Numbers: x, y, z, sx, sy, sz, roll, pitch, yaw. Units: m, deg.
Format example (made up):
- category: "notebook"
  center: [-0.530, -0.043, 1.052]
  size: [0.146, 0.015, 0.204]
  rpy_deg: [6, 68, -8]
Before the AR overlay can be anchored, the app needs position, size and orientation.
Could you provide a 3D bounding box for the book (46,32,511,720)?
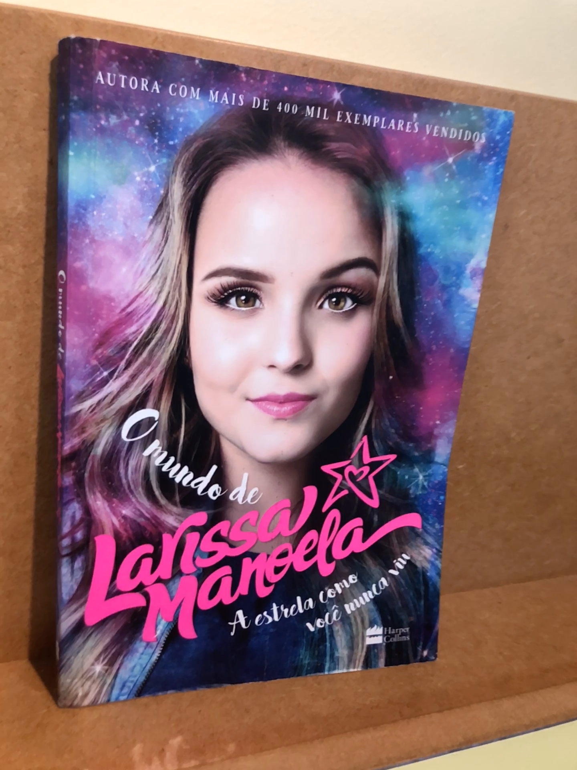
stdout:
- category: "book"
  center: [-0.006, 0.008, 0.234]
  size: [0.150, 0.222, 0.020]
  rpy_deg: [0, 14, -17]
